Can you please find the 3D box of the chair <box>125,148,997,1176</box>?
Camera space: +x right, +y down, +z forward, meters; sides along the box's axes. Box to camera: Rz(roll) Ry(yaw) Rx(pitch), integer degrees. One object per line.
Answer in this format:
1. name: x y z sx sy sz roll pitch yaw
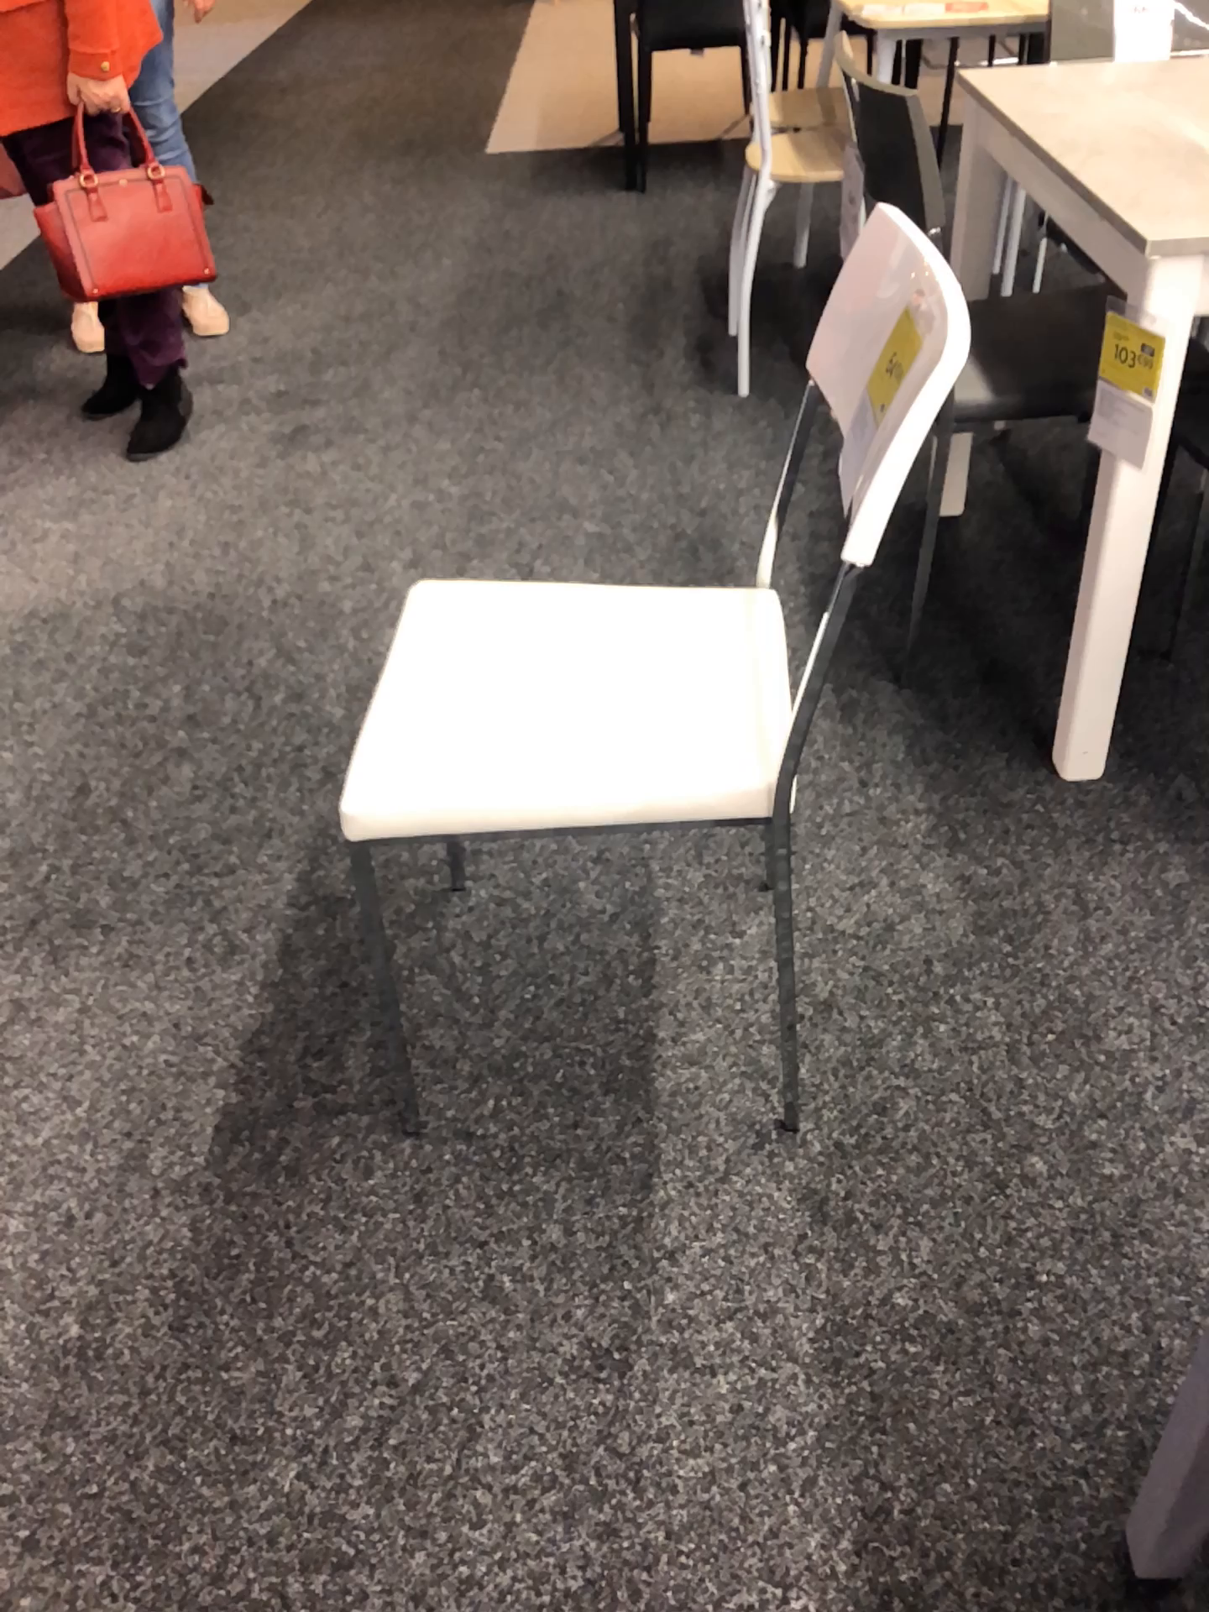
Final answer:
1. chair: -0.002 -0.111 1.267 0.540 0.815 0.503 -2 38 3
